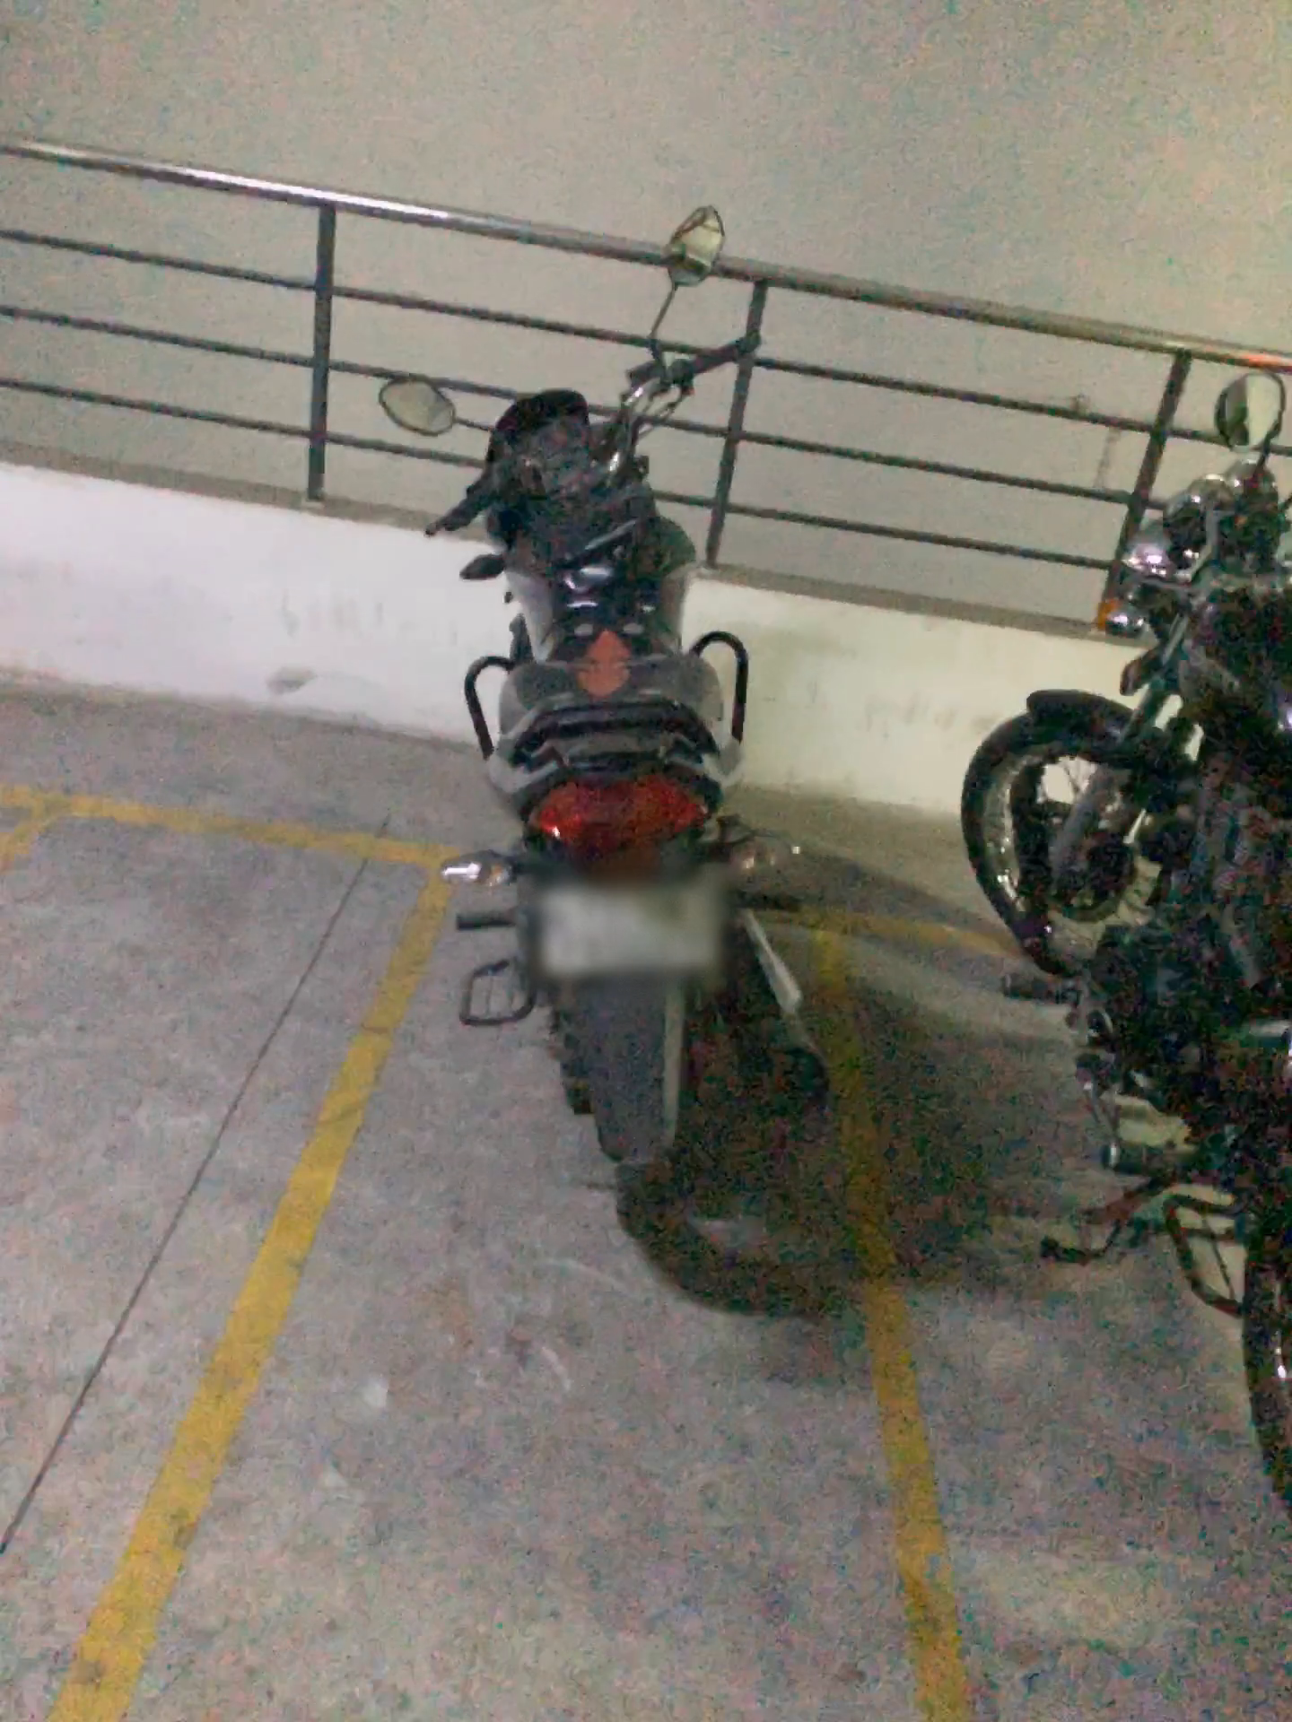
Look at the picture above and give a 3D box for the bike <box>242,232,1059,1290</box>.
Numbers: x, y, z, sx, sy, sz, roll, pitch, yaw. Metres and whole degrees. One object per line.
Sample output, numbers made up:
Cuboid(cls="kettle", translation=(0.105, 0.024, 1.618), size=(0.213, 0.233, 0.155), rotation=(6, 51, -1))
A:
Cuboid(cls="bike", translation=(-0.209, -0.346, 2.185), size=(0.755, 1.067, 1.684), rotation=(4, 27, -13))
